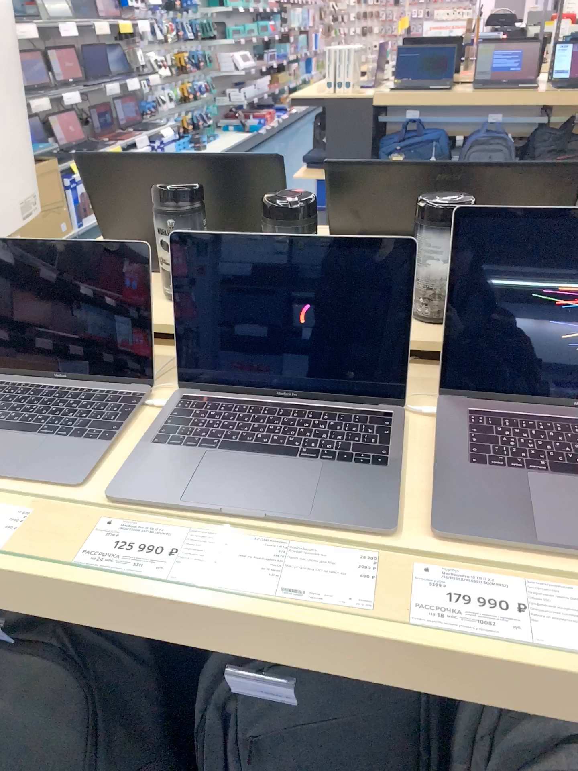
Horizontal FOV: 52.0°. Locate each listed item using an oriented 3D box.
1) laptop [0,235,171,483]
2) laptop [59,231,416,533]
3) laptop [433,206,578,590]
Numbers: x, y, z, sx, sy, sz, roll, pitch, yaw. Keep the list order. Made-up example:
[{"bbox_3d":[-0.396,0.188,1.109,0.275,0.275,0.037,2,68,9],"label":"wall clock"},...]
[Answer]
[{"bbox_3d":[-0.336,-0.051,0.725,0.280,0.172,0.267,4,33,11],"label":"laptop"},{"bbox_3d":[-0.024,-0.026,0.641,0.299,0.195,0.261,4,32,11],"label":"laptop"},{"bbox_3d":[0.337,-0.027,0.590,0.346,0.210,0.329,5,32,13],"label":"laptop"}]
